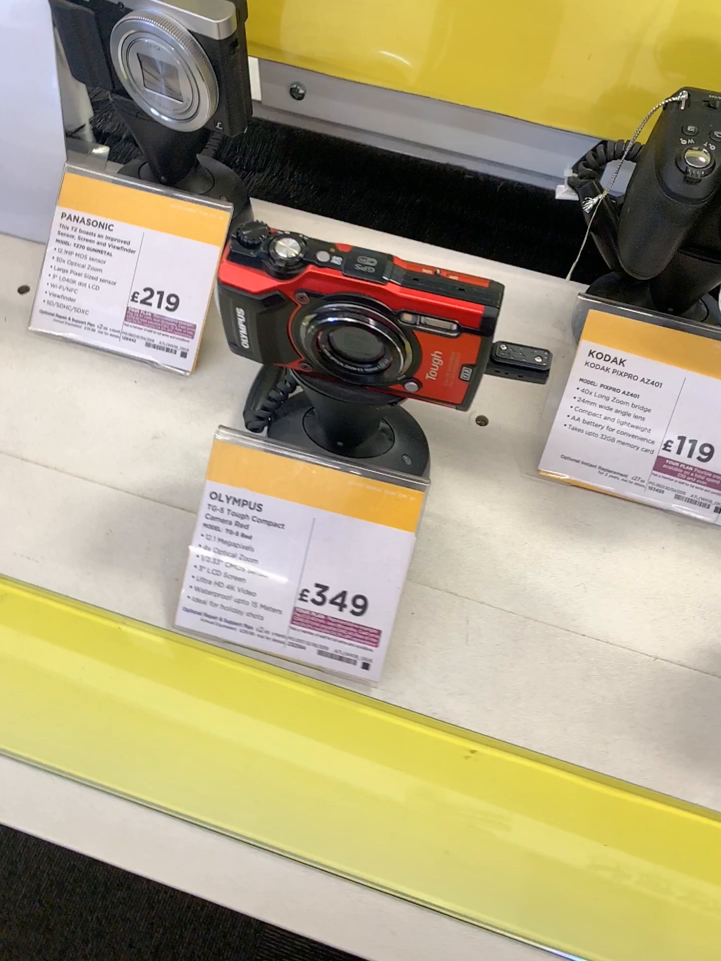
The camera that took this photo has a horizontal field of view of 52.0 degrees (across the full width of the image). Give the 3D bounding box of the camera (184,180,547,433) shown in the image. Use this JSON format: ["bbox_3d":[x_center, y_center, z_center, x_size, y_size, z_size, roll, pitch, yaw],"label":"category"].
[{"bbox_3d":[0.002,-0.065,0.284,0.120,0.060,0.040,15,63,5],"label":"camera"}]
